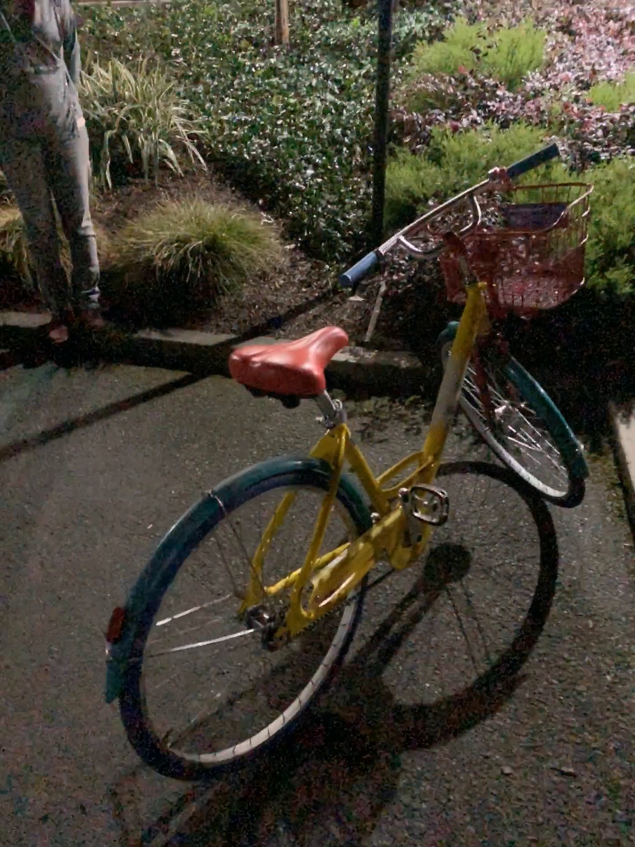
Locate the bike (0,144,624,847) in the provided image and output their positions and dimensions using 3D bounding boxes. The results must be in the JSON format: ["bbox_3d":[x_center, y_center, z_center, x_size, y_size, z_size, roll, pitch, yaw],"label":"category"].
[{"bbox_3d":[0.118,0.005,1.575,0.601,1.085,1.587,20,36,28],"label":"bike"}]
